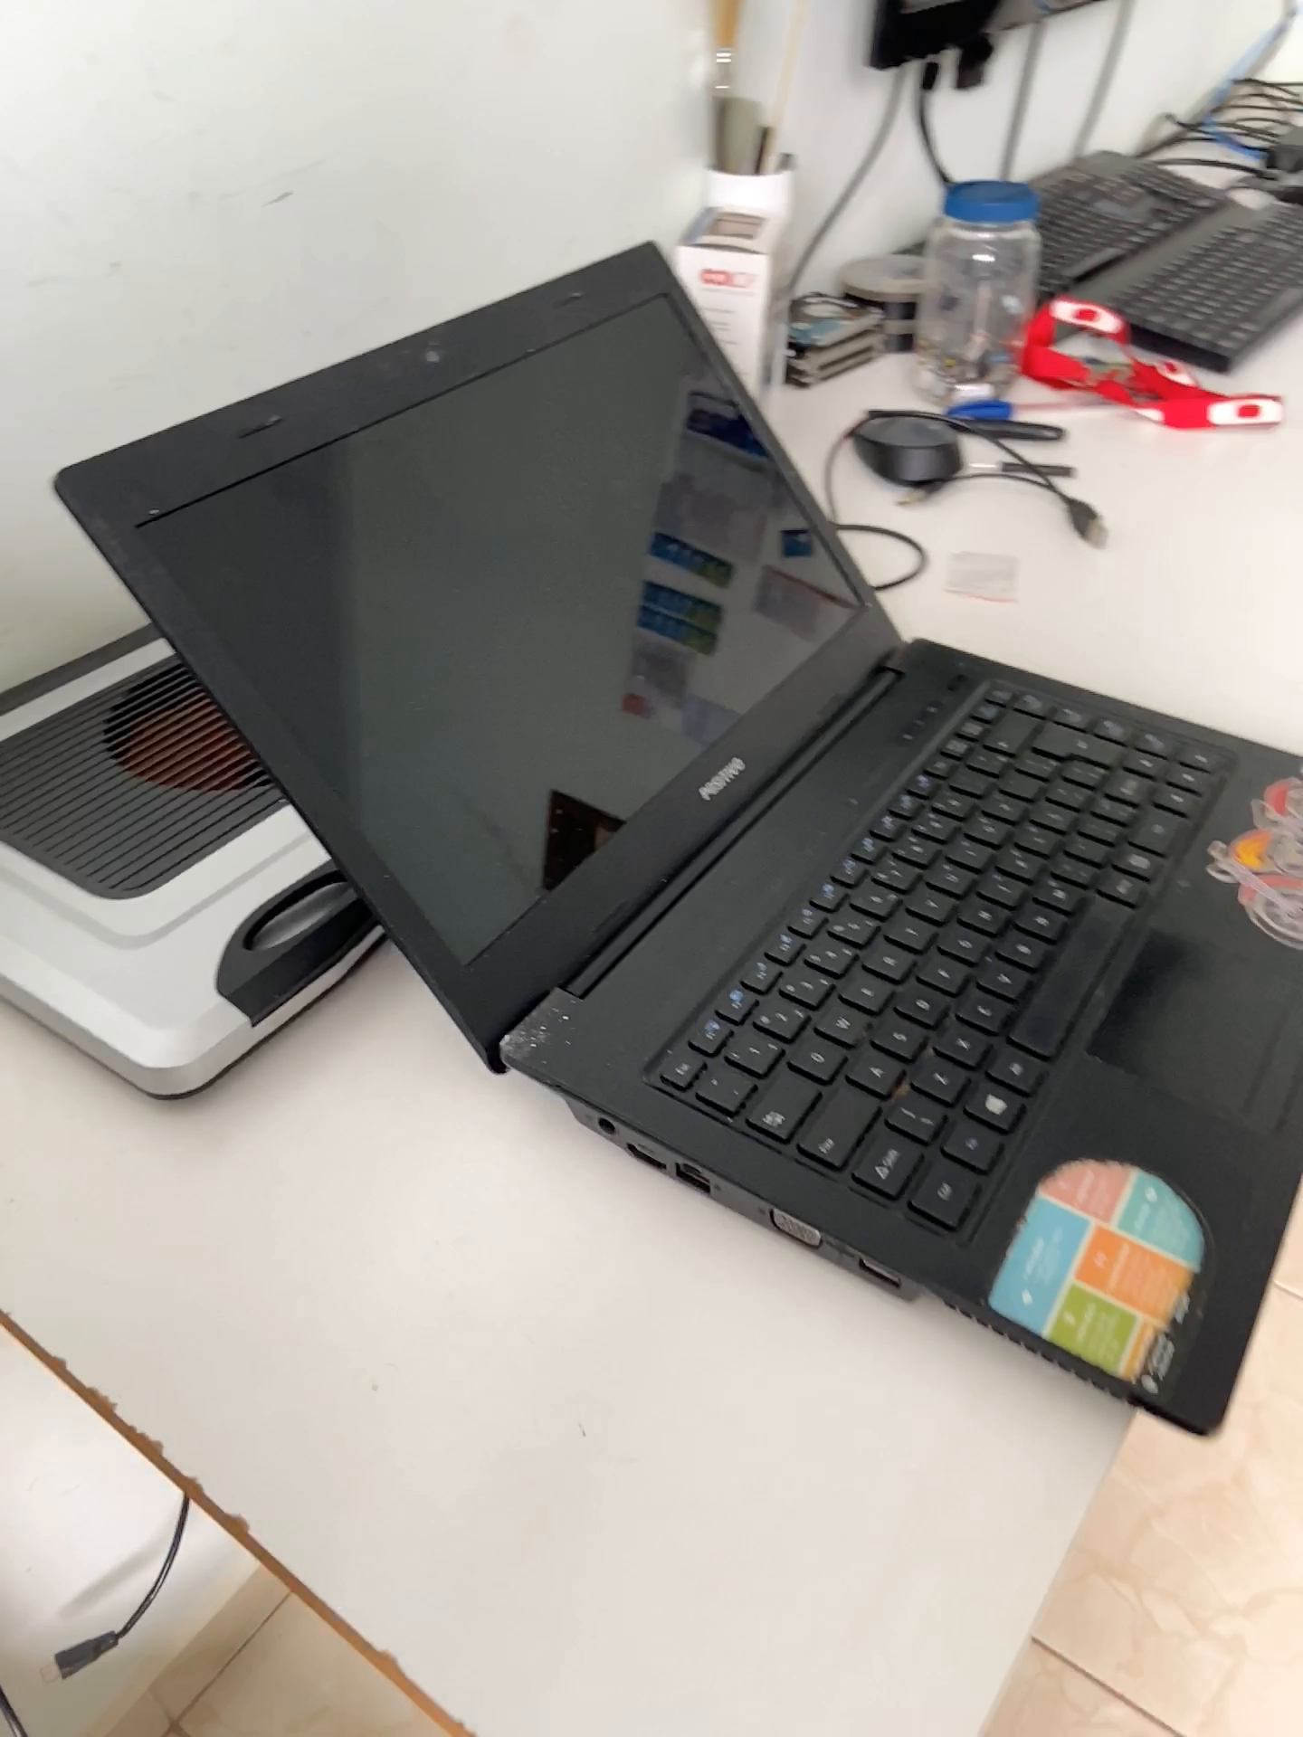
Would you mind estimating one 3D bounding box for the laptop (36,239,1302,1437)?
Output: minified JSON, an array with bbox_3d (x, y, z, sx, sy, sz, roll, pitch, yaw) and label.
[{"bbox_3d":[0.070,-0.075,0.484,0.393,0.162,0.336,23,44,25],"label":"laptop"}]
